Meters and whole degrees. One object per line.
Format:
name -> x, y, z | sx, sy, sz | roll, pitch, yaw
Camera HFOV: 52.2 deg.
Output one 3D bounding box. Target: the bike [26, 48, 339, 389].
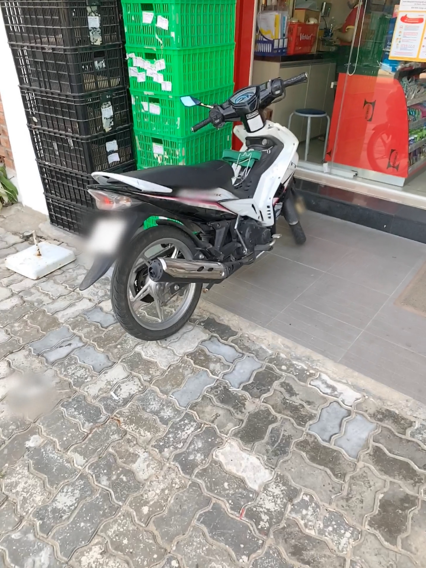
bike -> 0.005, -0.570, 2.478 | 0.667, 1.186, 1.822 | 19, 37, 26
